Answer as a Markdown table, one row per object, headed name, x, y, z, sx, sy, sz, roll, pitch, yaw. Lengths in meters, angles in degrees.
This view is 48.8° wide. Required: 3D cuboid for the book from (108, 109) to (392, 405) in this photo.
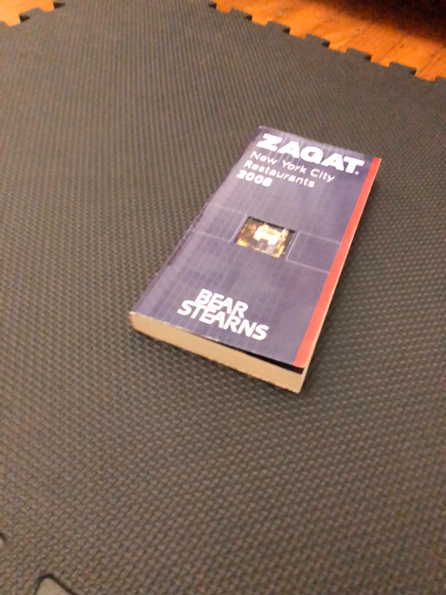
| name | x | y | z | sx | sy | sz | roll | pitch | yaw |
| --- | --- | --- | --- | --- | --- | --- | --- | --- | --- |
| book | 0.033 | -0.048 | 0.337 | 0.120 | 0.030 | 0.221 | 20 | 52 | 11 |
